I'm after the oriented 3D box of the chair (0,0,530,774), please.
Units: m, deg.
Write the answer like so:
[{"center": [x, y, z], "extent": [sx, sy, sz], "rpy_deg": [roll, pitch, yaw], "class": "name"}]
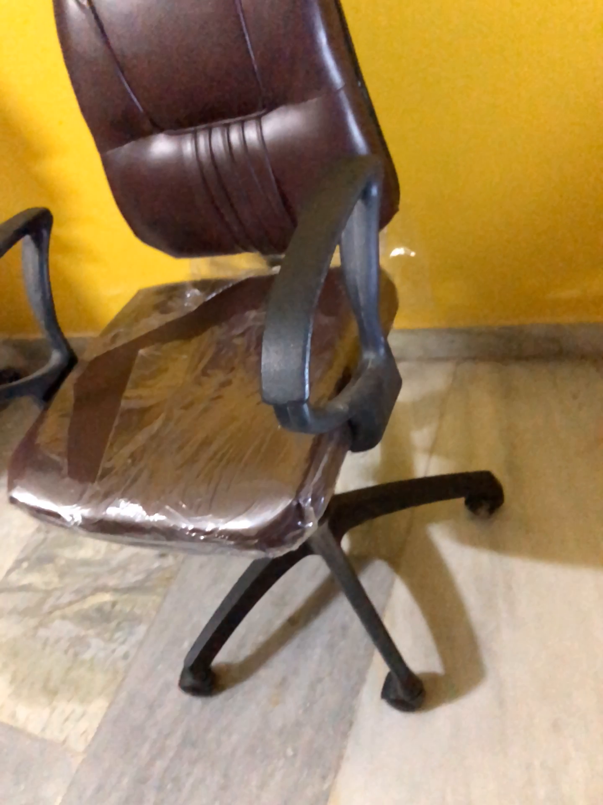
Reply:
[{"center": [-0.129, -0.081, 0.920], "extent": [0.691, 0.974, 0.683], "rpy_deg": [-2, 47, 26], "class": "chair"}]
